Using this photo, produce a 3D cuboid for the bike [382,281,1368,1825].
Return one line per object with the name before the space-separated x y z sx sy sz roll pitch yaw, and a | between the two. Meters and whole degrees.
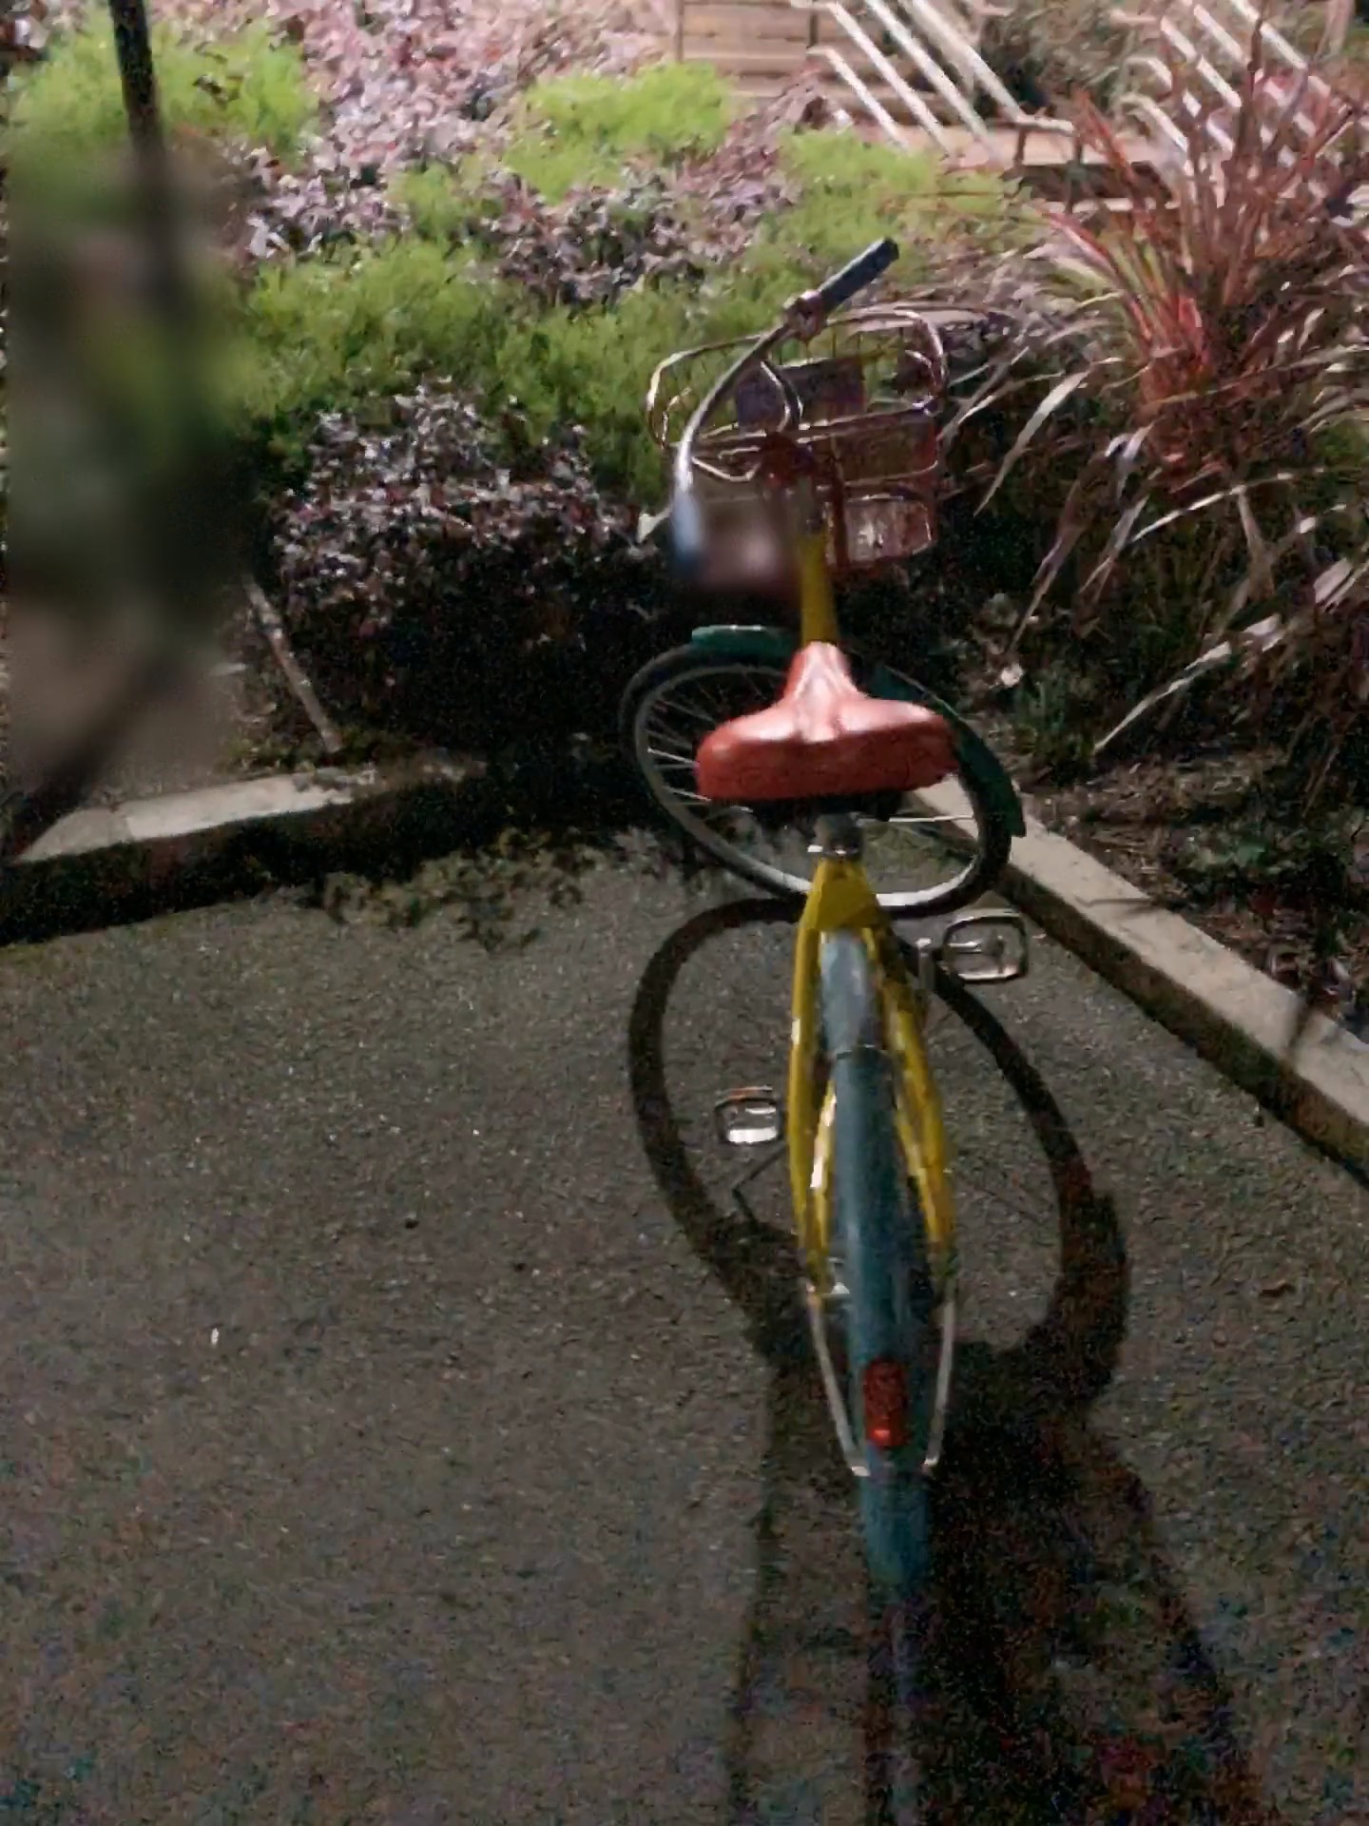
bike | 0.047 -0.058 1.614 0.599 1.085 1.592 -2 30 -7
